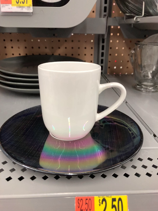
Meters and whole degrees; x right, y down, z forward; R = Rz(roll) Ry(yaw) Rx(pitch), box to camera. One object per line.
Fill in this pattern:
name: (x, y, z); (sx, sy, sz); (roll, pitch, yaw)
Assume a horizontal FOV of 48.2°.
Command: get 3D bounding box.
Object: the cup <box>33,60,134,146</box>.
cup: (0.003, -0.009, 0.251); (0.112, 0.098, 0.078); (-1, 22, -4)
